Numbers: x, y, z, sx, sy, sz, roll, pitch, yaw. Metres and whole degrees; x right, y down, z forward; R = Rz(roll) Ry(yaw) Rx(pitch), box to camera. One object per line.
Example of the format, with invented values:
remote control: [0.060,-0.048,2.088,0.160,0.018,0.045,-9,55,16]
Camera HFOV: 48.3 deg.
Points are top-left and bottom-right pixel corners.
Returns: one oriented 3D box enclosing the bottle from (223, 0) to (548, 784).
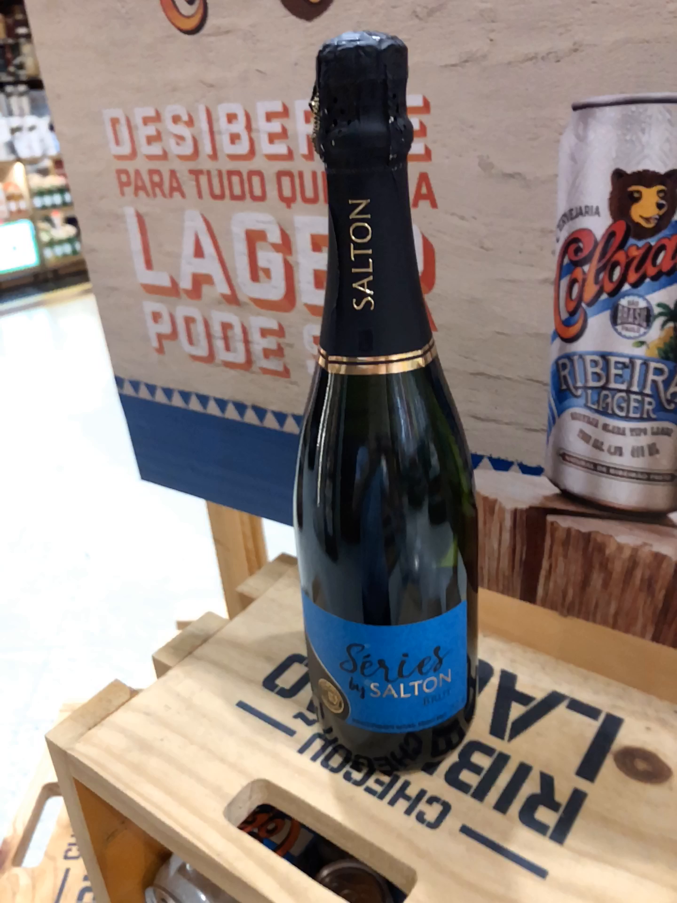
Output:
bottle: [0.025,-0.011,0.313,0.090,0.318,0.081,0,26,7]
